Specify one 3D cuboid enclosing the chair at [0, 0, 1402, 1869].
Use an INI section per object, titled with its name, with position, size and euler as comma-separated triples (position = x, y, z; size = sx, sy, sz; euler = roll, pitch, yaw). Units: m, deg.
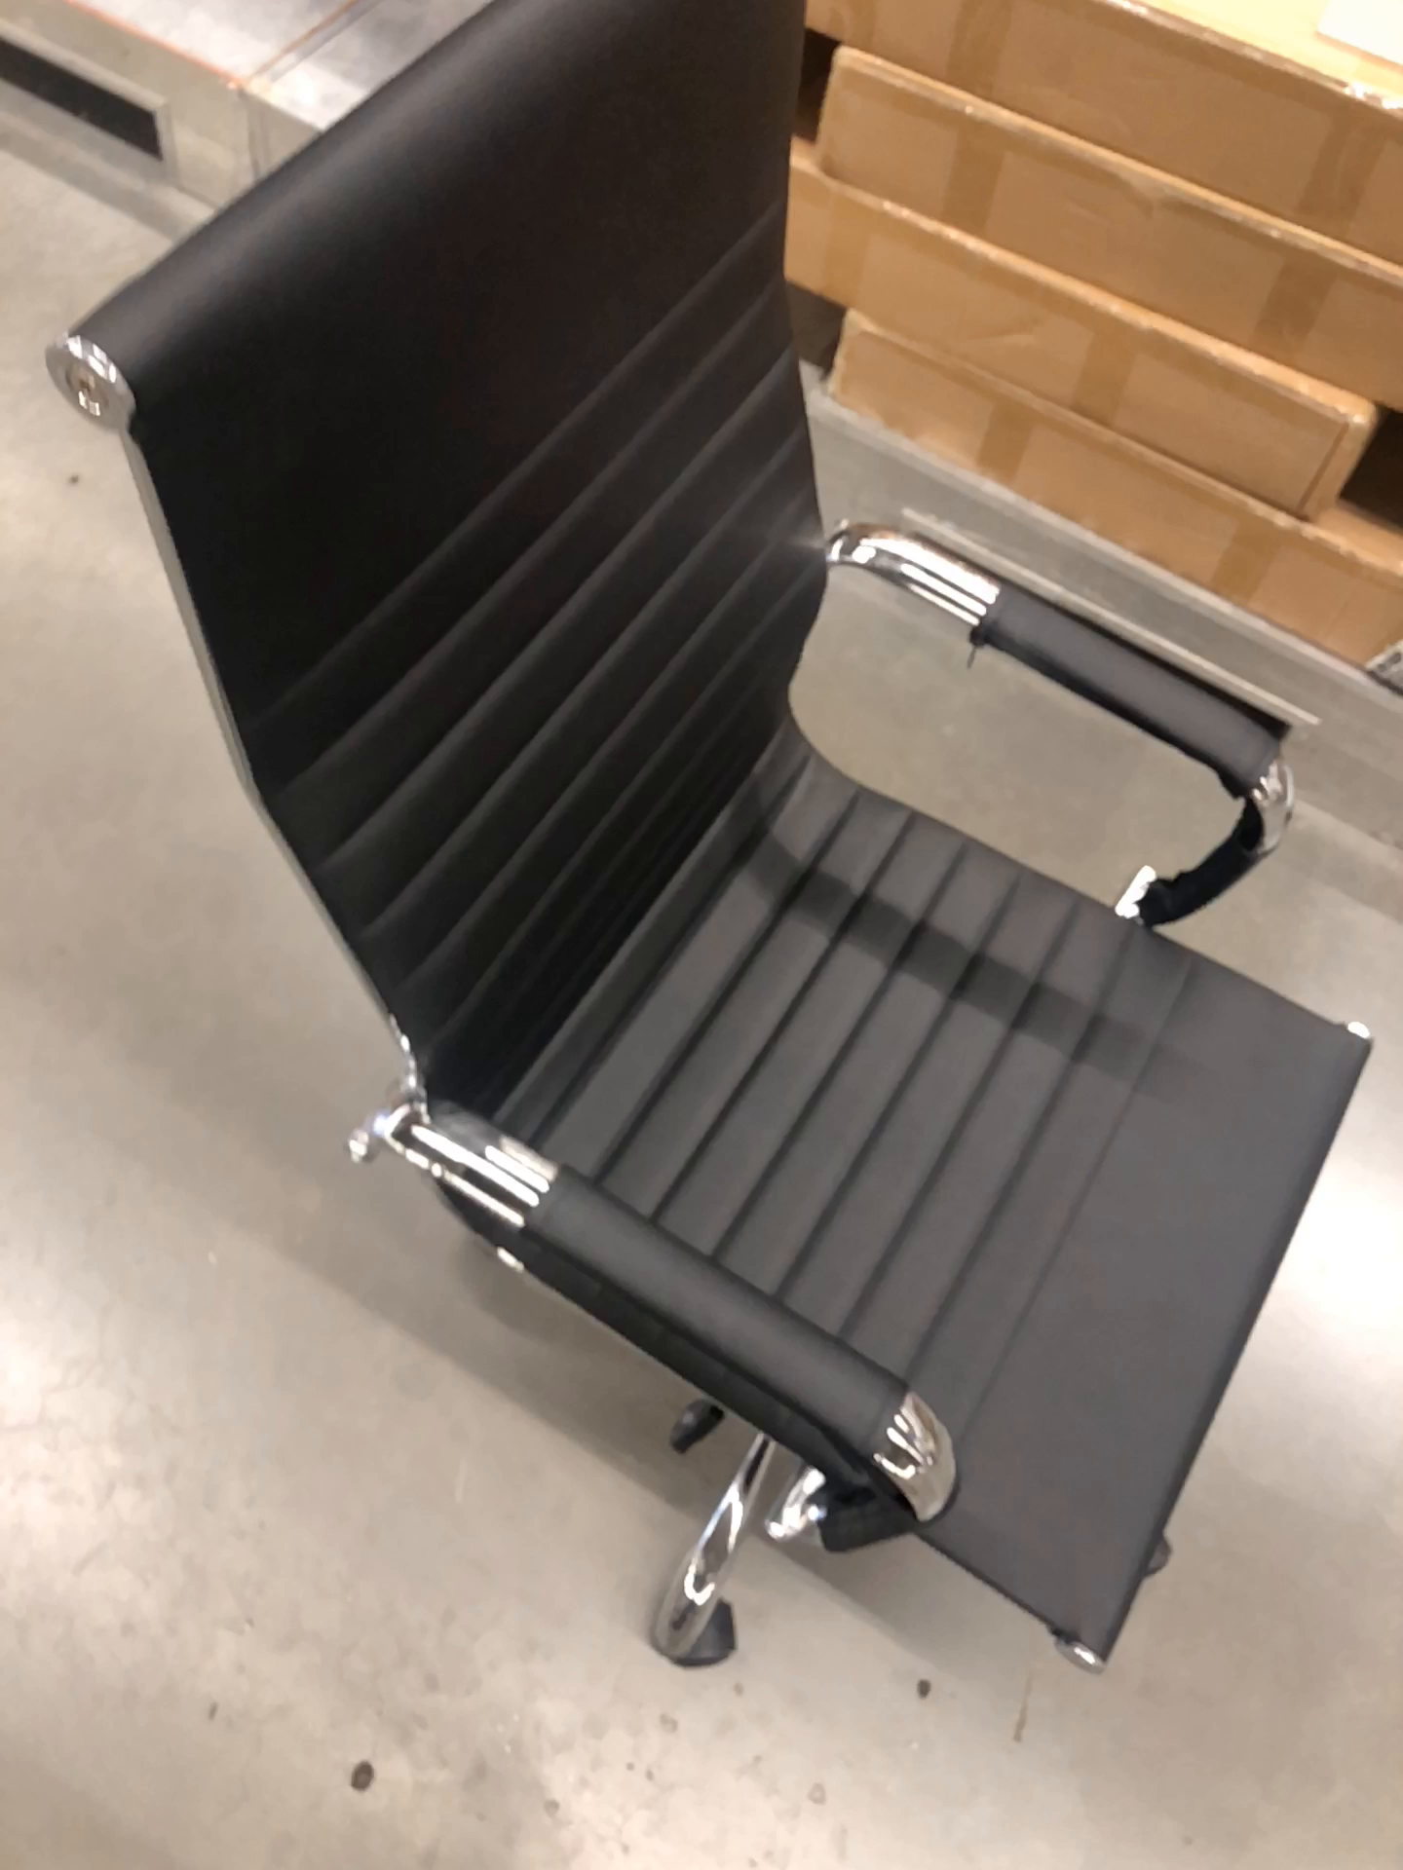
[chair]
position = 0.168, 0.069, 0.992
size = 0.740, 1.094, 0.673
euler = 31, 60, 11
